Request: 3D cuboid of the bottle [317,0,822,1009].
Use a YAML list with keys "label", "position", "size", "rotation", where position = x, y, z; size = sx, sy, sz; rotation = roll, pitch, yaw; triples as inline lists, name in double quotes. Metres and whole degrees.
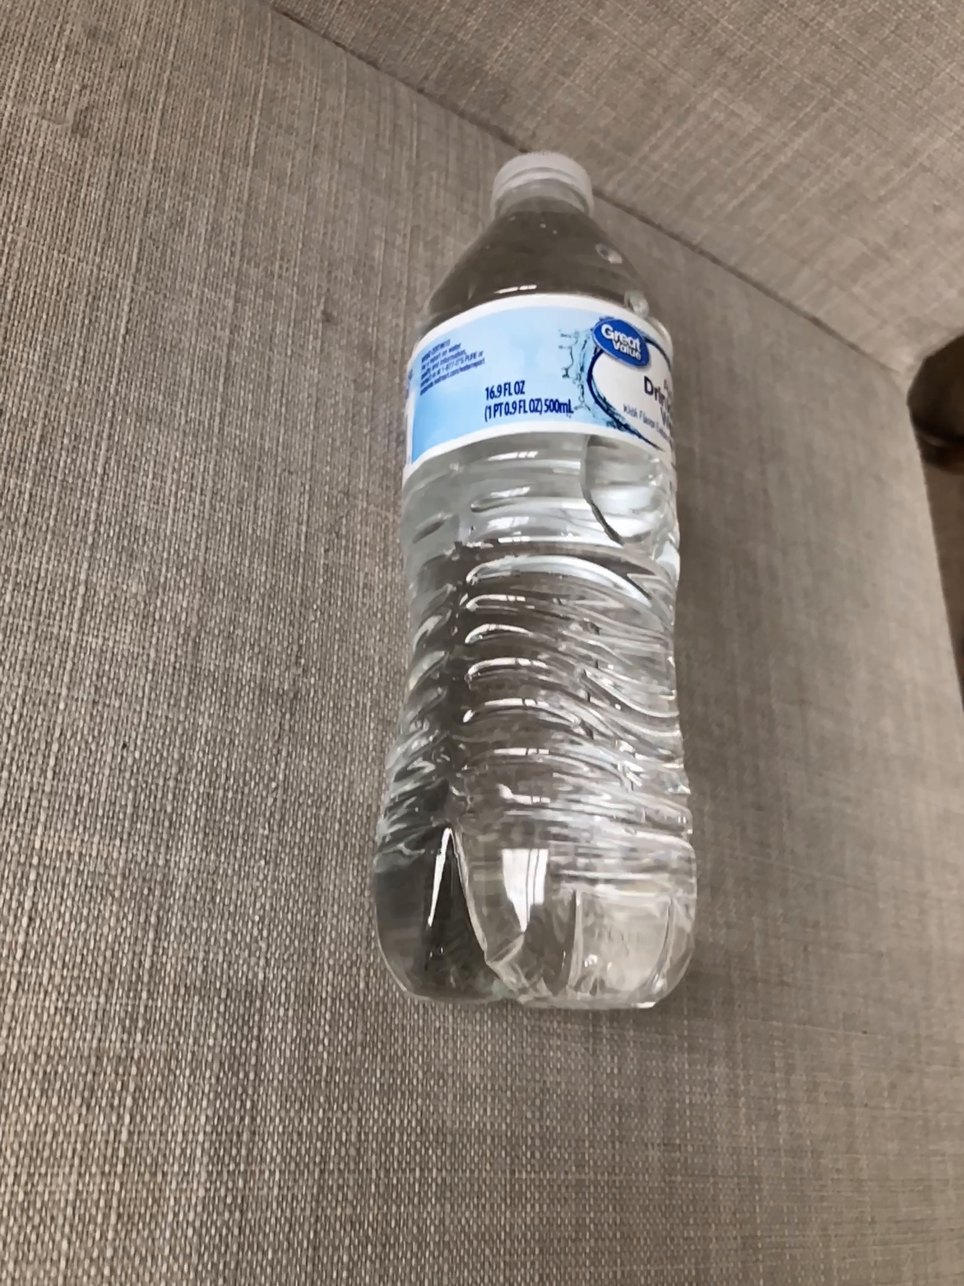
- label: "bottle"
  position: [0.021, -0.038, 0.250]
  size: [0.070, 0.080, 0.231]
  rotation: [39, 47, -60]
